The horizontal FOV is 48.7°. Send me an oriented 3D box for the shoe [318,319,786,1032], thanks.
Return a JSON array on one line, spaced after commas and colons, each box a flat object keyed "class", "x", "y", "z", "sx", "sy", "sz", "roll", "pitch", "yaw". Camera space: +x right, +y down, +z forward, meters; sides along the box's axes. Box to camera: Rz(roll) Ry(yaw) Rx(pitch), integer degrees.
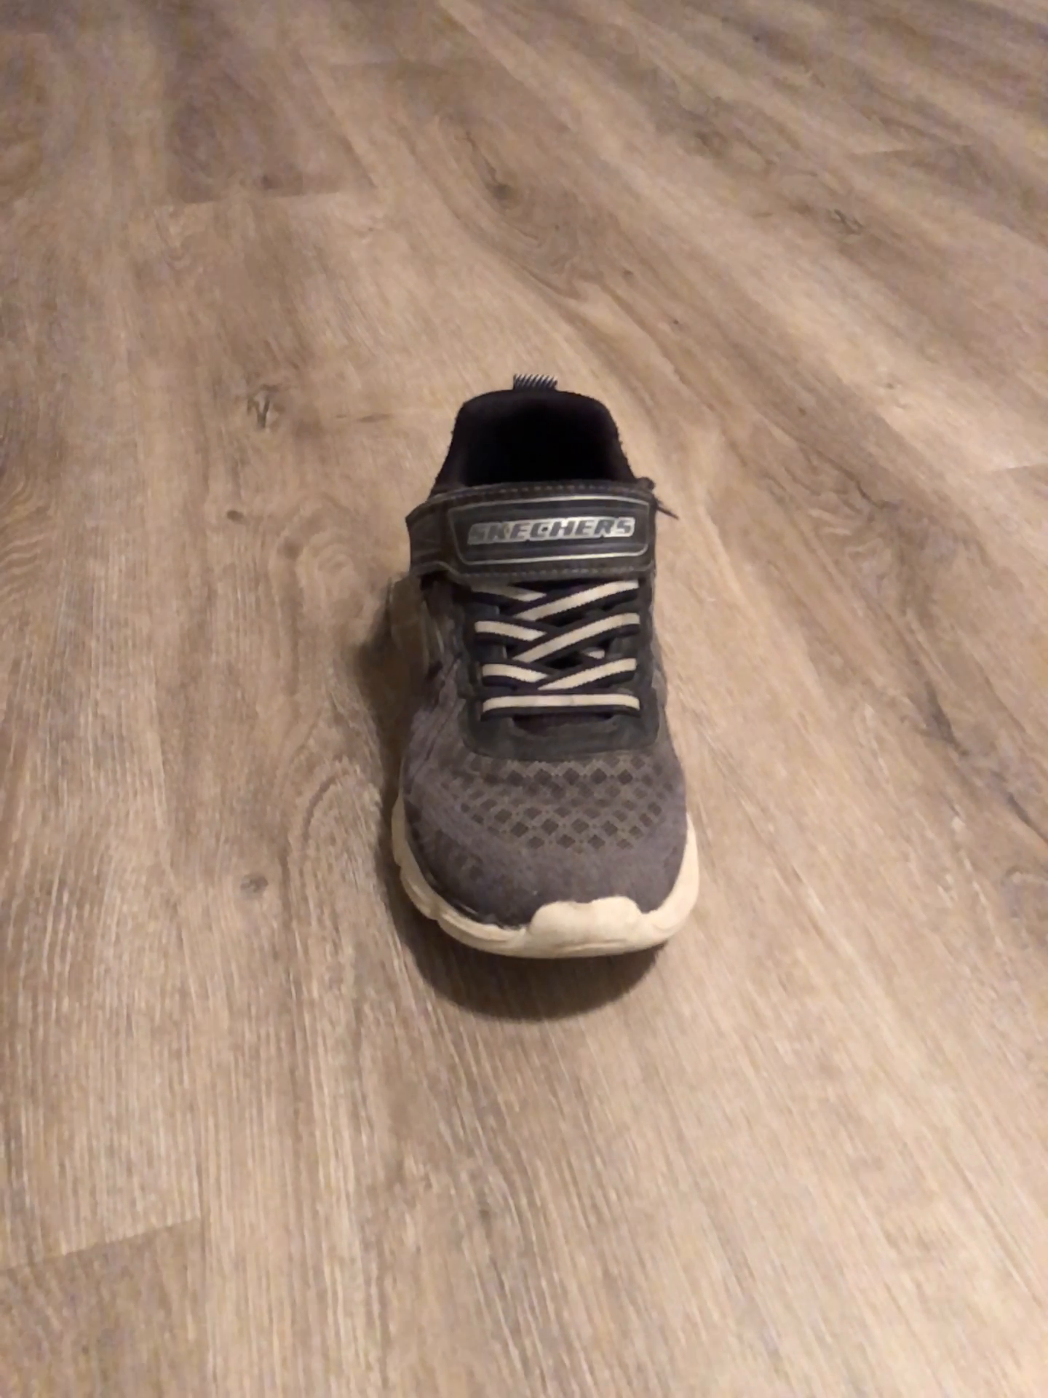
[{"class": "shoe", "x": 0.001, "y": -0.025, "z": 0.367, "sx": 0.100, "sy": 0.100, "sz": 0.231, "roll": 0, "pitch": 41, "yaw": -3}]
